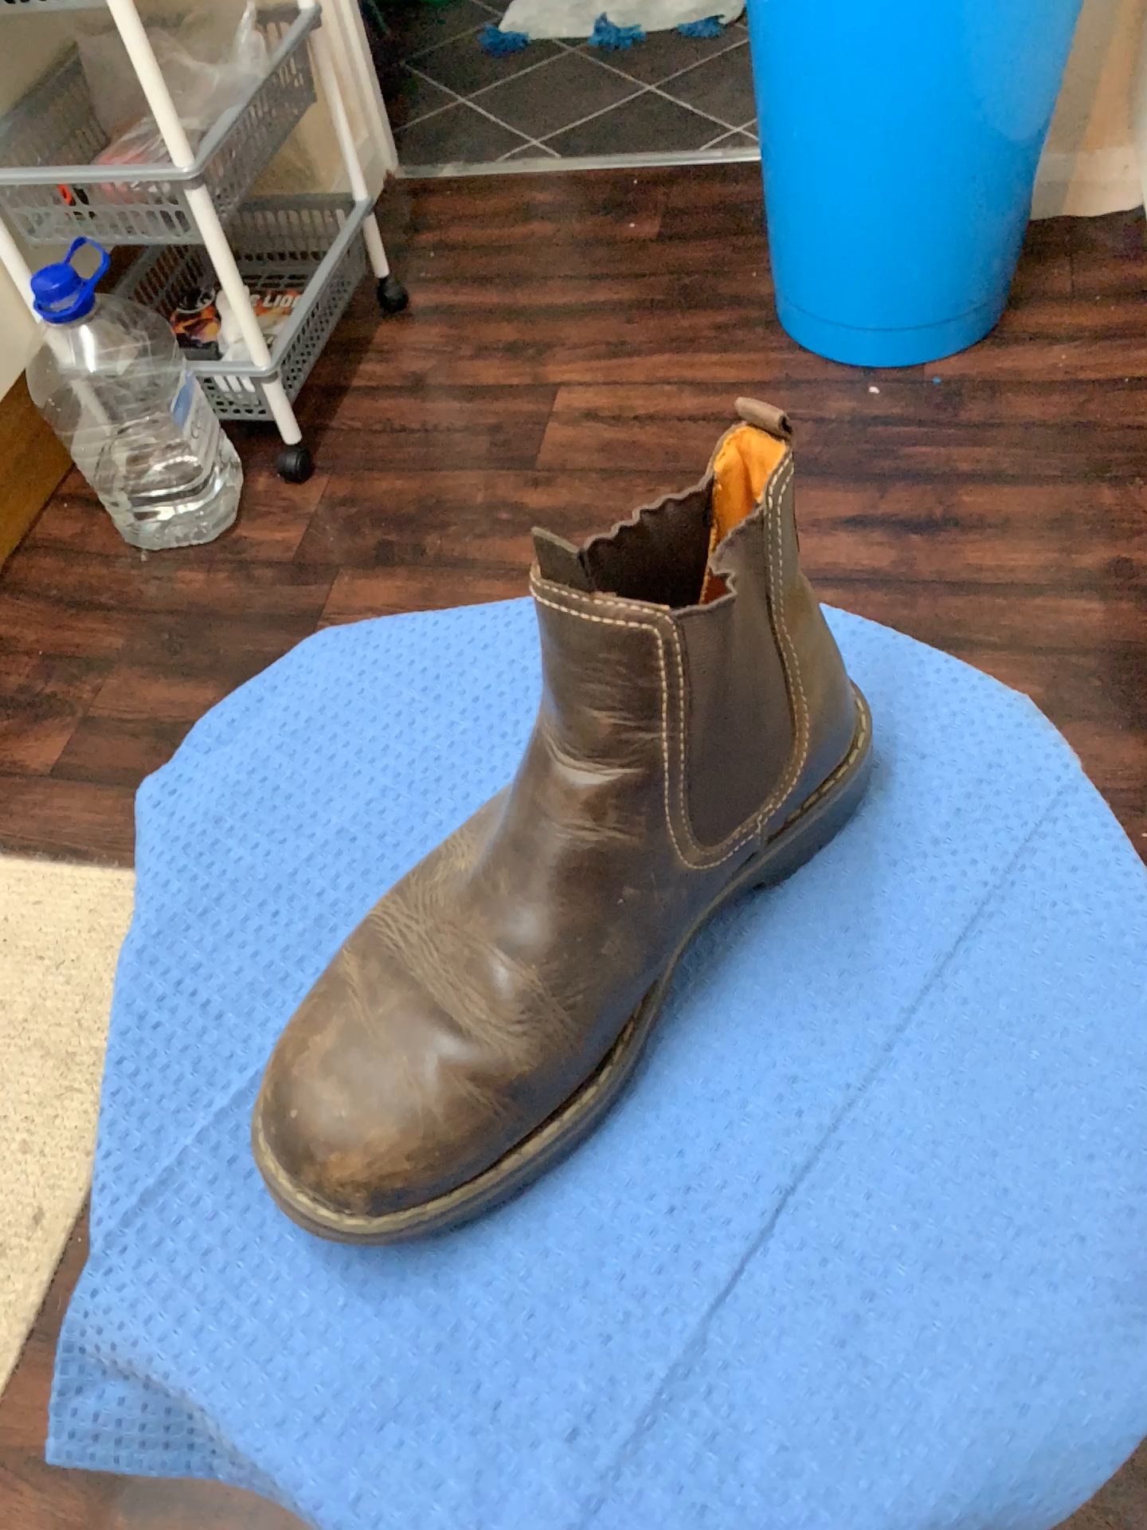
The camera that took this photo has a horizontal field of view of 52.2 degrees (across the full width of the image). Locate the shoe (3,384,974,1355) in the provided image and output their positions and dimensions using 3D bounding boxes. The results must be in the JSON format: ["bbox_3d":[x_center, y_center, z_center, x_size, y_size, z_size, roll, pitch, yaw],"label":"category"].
[{"bbox_3d":[-0.004,0.029,0.389,0.279,0.156,0.106,-41,57,-20],"label":"shoe"}]
